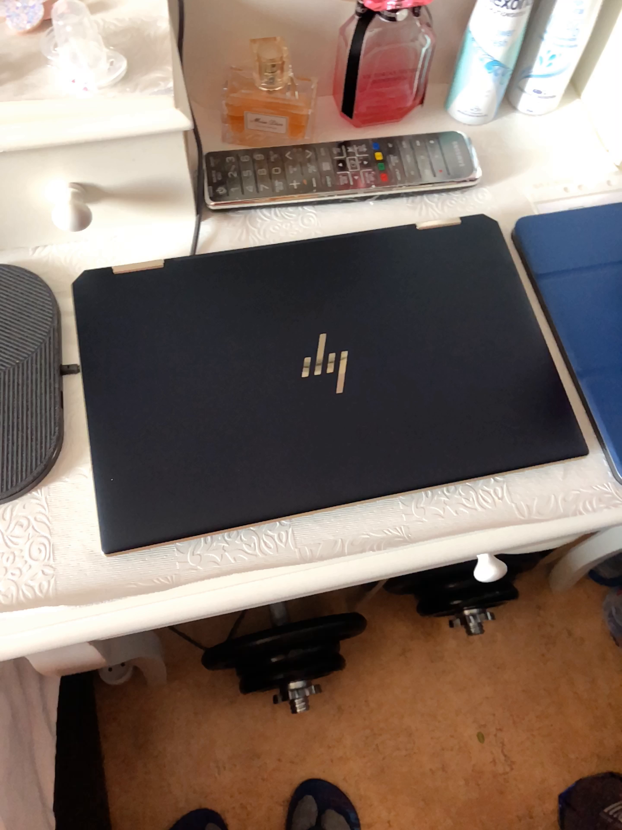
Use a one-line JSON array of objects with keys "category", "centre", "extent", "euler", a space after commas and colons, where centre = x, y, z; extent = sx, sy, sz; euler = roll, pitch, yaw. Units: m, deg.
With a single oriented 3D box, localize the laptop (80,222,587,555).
[{"category": "laptop", "centre": [0.016, -0.029, 0.396], "extent": [0.267, 0.007, 0.160], "euler": [-10, 71, -14]}]
